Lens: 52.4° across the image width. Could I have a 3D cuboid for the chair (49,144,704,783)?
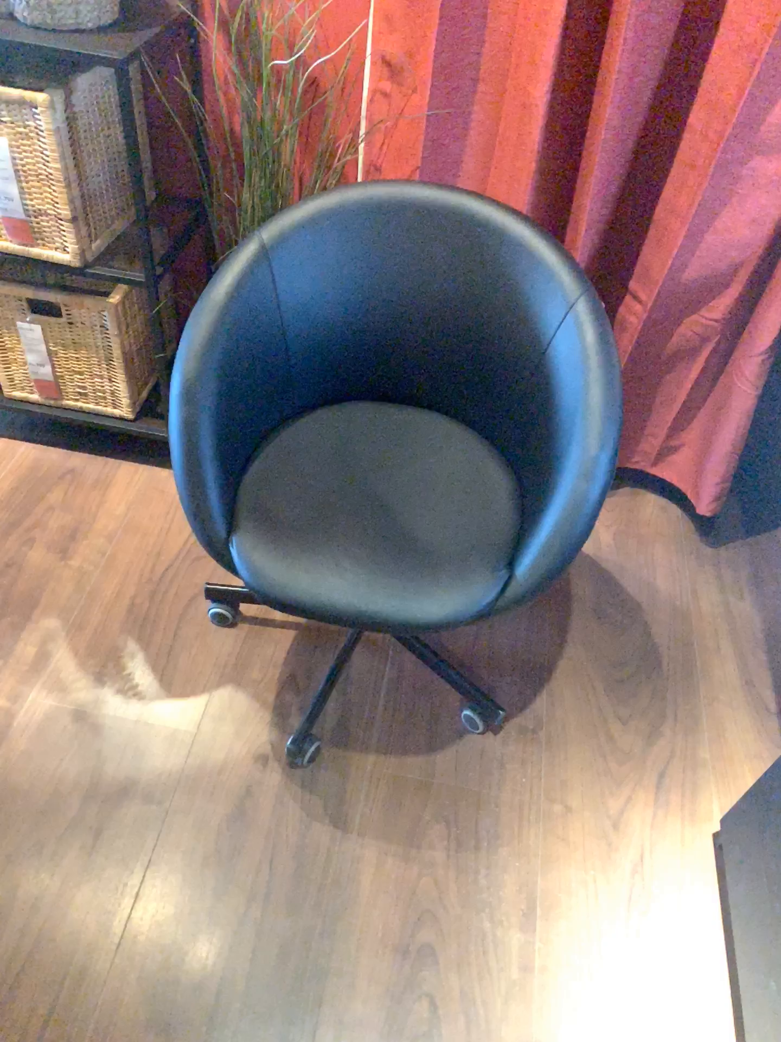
[{"bbox_3d":[-0.029,-0.058,1.201,0.620,0.698,0.582,6,47,-2],"label":"chair"}]
